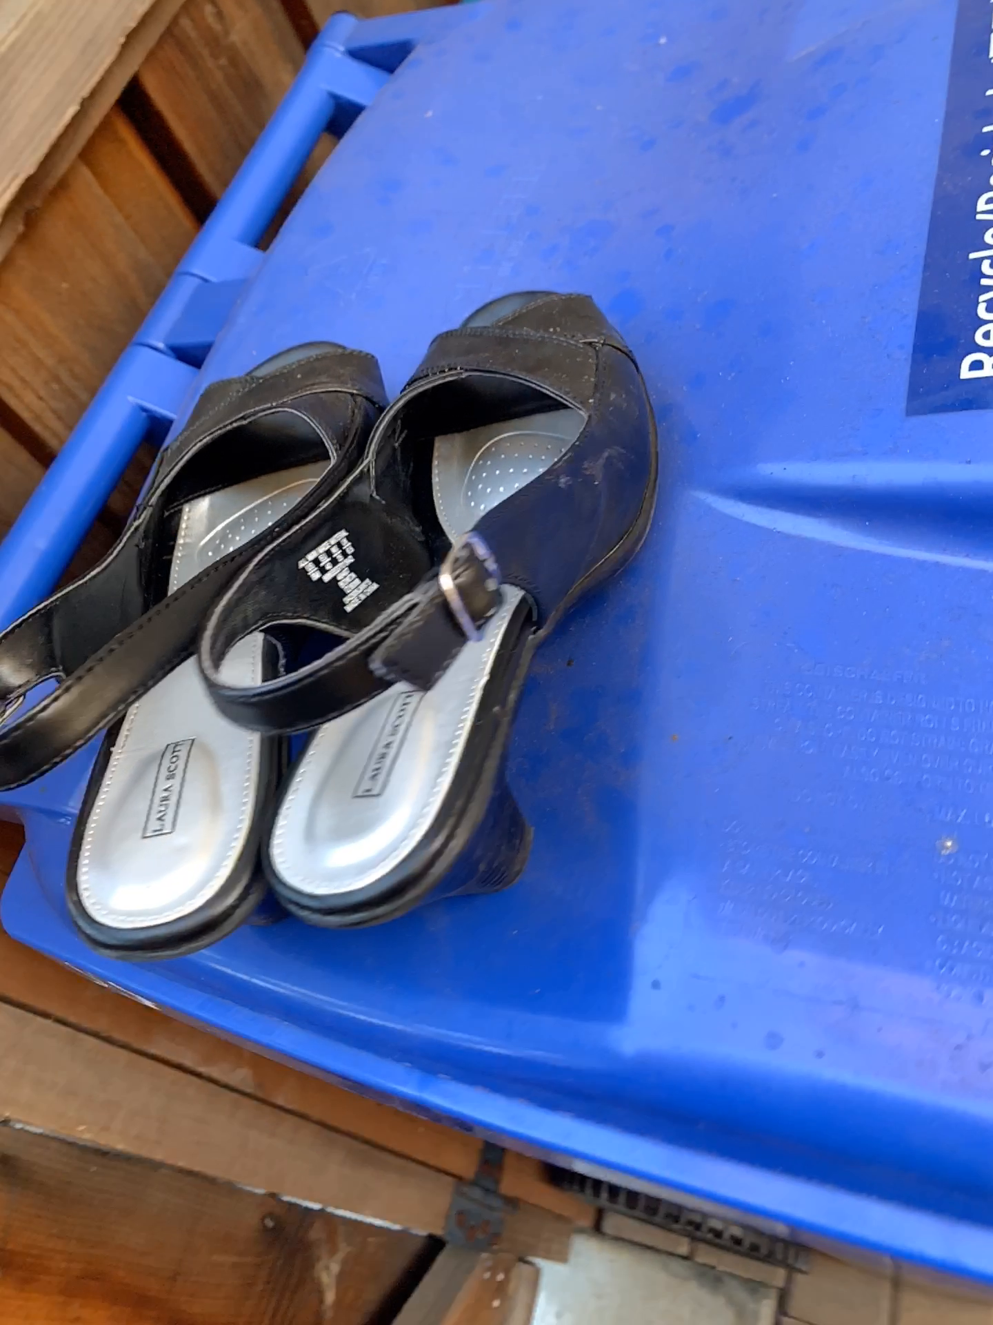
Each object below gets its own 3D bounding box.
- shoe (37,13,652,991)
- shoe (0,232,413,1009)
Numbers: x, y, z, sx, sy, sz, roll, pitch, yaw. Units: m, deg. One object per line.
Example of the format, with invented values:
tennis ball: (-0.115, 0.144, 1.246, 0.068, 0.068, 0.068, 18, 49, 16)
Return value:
shoe: (-0.015, -0.051, 0.283, 0.090, 0.099, 0.252, -8, 54, 21)
shoe: (-0.084, -0.033, 0.332, 0.090, 0.089, 0.252, -8, 46, 6)
